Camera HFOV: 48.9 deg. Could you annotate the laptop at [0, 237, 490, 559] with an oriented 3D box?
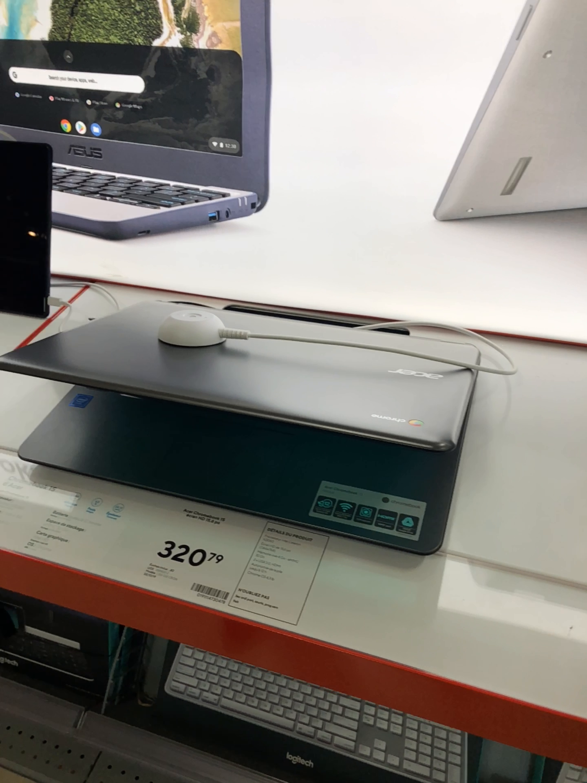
[{"bbox_3d":[-0.034,-0.025,0.573,0.370,0.088,0.249,10,41,18],"label":"laptop"}]
